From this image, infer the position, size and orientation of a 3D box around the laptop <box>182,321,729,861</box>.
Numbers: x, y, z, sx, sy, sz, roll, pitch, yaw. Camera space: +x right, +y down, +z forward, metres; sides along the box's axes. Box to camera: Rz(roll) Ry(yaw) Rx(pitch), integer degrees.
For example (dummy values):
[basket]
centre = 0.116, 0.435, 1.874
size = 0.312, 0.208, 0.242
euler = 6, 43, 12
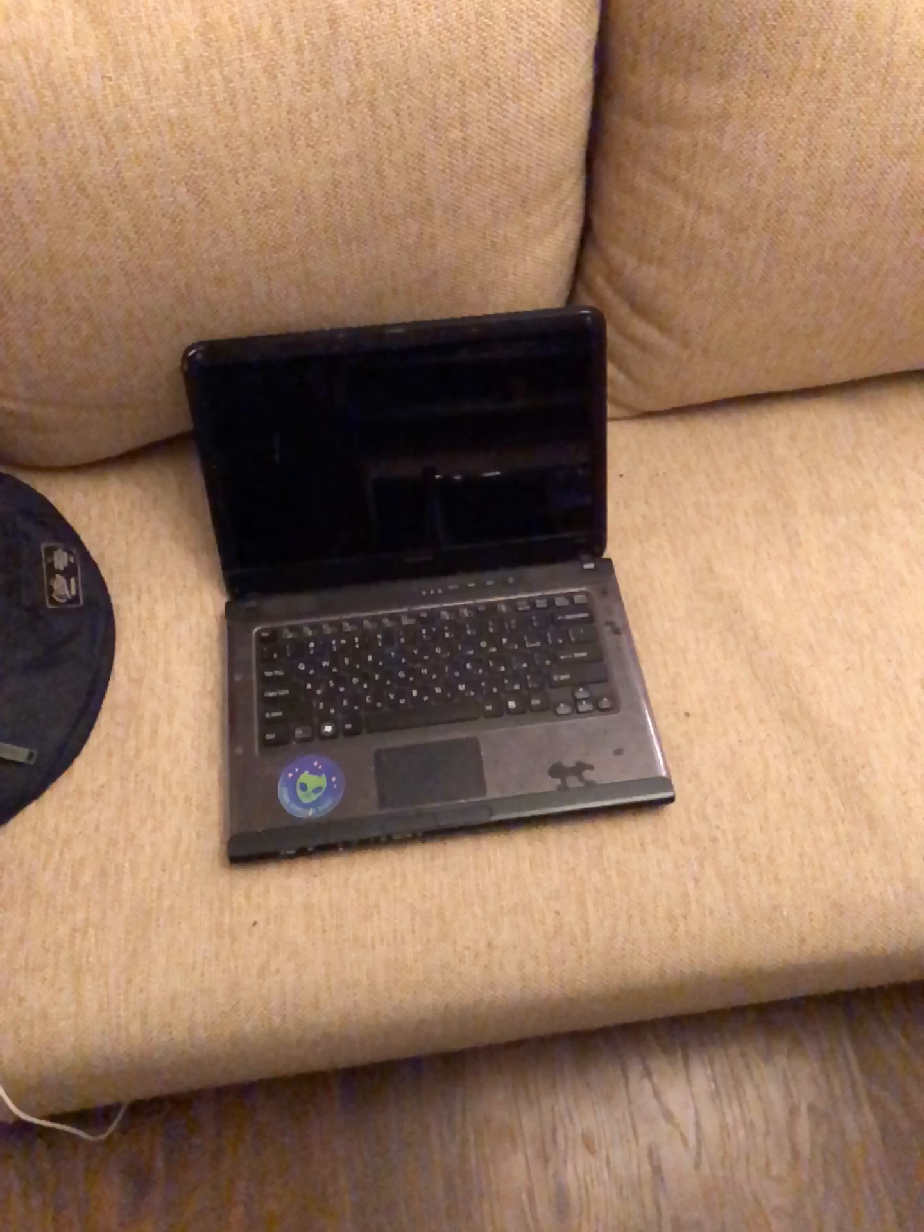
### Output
[laptop]
centre = -0.027, -0.027, 0.792
size = 0.338, 0.174, 0.350
euler = -7, 59, -5
